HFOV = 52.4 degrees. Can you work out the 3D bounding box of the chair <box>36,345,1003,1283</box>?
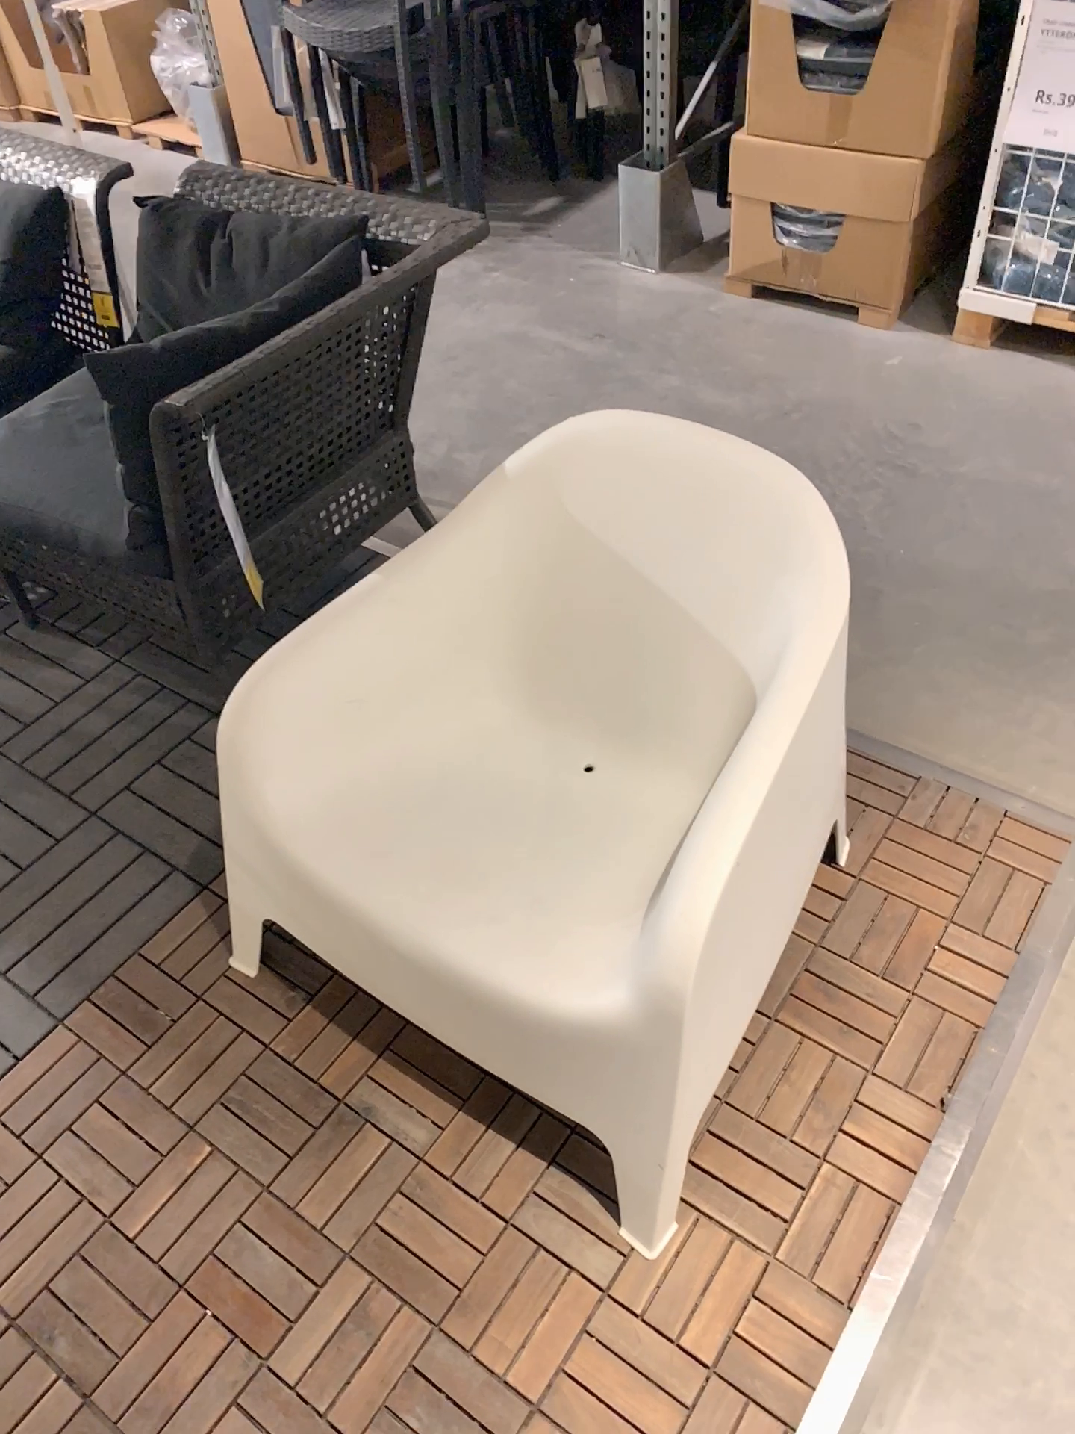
[{"bbox_3d":[0.014,0.058,1.433,0.771,0.637,0.762,26,52,28],"label":"chair"}]
